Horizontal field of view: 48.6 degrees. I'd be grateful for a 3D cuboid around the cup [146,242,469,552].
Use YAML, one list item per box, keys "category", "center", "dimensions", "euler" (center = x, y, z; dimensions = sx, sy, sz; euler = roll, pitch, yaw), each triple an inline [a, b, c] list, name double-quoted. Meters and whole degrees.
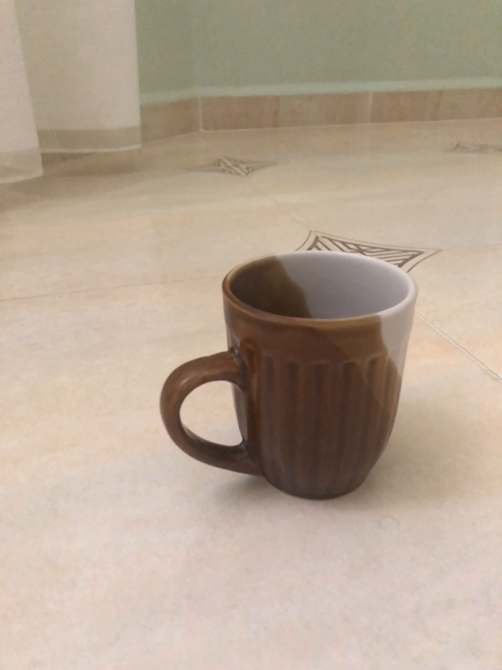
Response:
- category: "cup"
  center: [0.015, 0.019, 0.228]
  dimensions: [0.103, 0.086, 0.076]
  euler: [-7, 27, -10]
